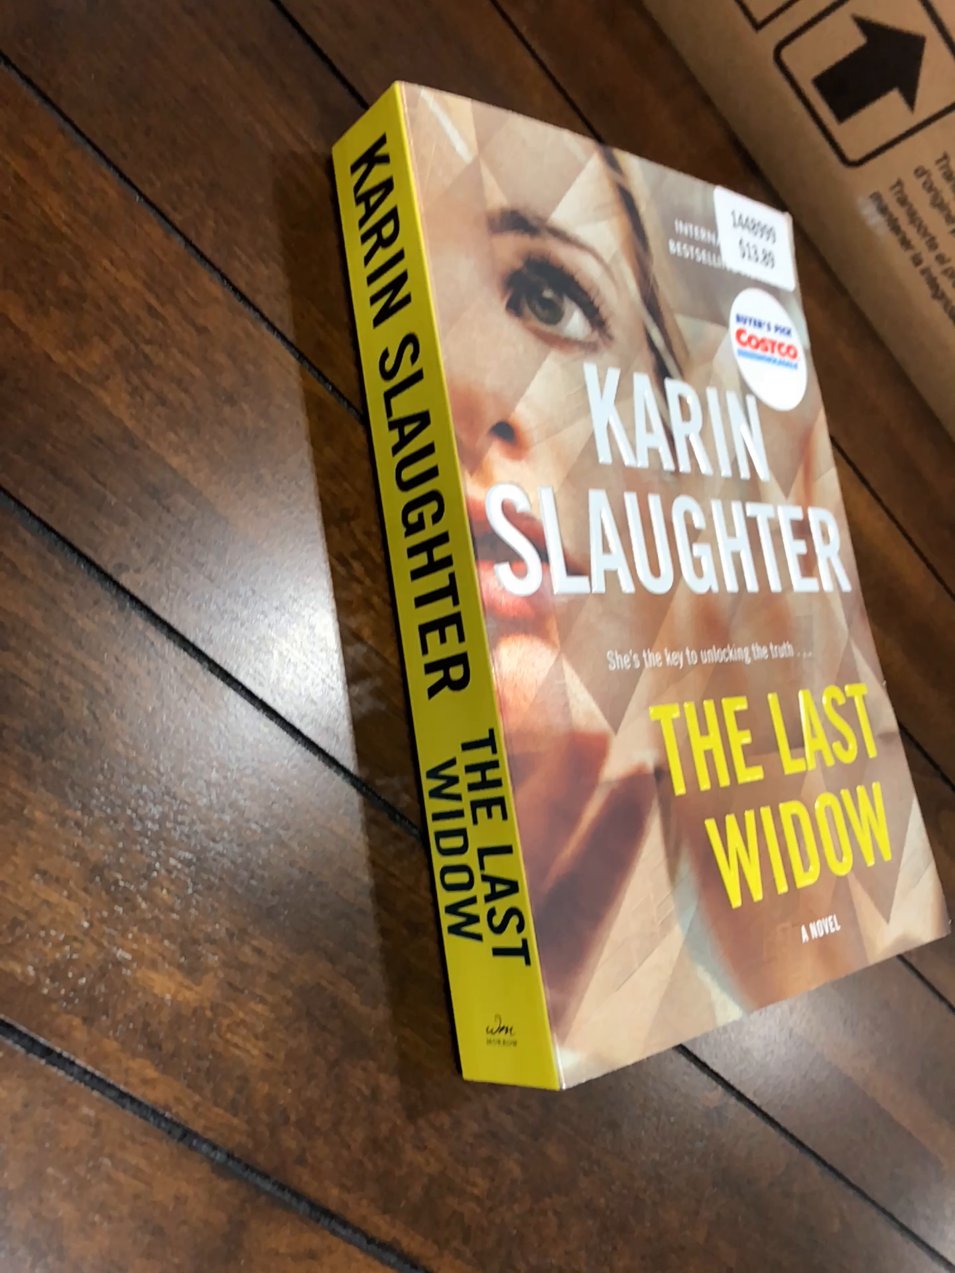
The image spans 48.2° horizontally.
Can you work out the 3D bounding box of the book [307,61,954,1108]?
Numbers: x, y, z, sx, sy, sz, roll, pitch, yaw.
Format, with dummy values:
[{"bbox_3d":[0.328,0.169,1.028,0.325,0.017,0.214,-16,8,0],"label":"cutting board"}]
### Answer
[{"bbox_3d":[0.047,-0.017,0.291,0.155,0.042,0.230,-2,79,-38],"label":"book"}]
